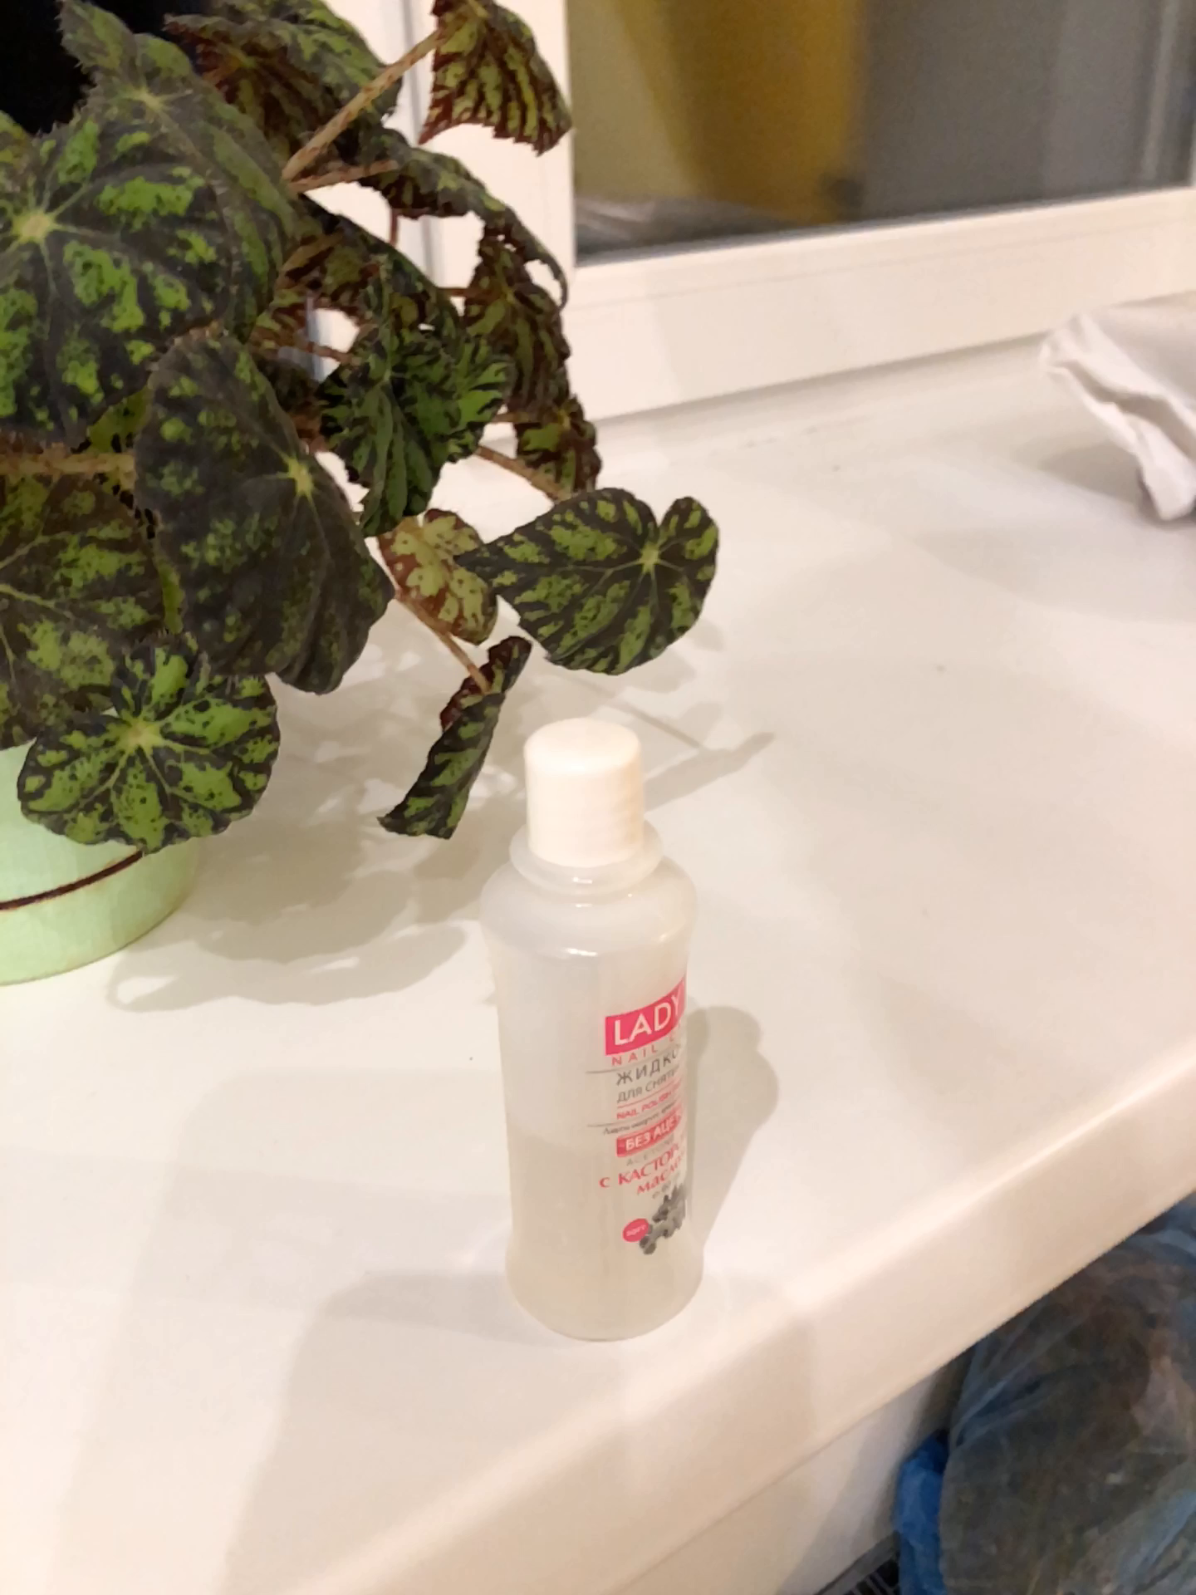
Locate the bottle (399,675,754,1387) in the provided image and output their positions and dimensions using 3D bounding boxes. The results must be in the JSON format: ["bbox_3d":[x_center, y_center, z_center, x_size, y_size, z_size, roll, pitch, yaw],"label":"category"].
[{"bbox_3d":[-0.001,0.039,0.218,0.037,0.105,0.037,-2,28,1],"label":"bottle"}]
